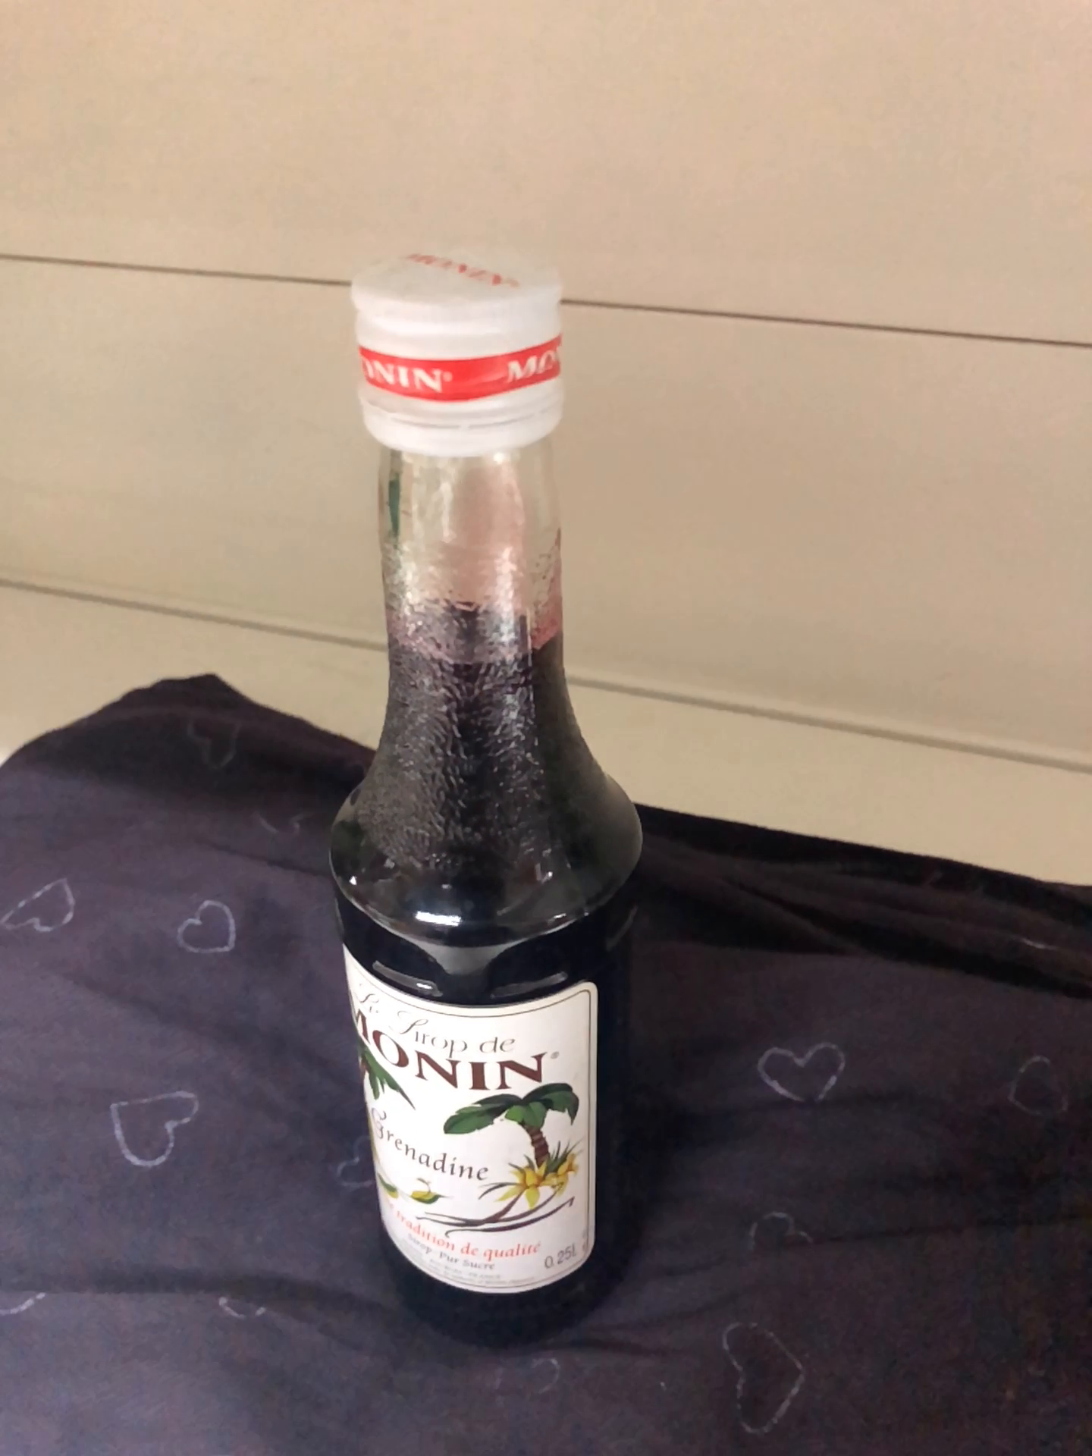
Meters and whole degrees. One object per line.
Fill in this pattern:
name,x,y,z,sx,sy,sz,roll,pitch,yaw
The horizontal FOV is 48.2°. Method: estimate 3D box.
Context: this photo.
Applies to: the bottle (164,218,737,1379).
bottle,-0.011,0.021,0.220,0.060,0.199,0.060,0,31,0
